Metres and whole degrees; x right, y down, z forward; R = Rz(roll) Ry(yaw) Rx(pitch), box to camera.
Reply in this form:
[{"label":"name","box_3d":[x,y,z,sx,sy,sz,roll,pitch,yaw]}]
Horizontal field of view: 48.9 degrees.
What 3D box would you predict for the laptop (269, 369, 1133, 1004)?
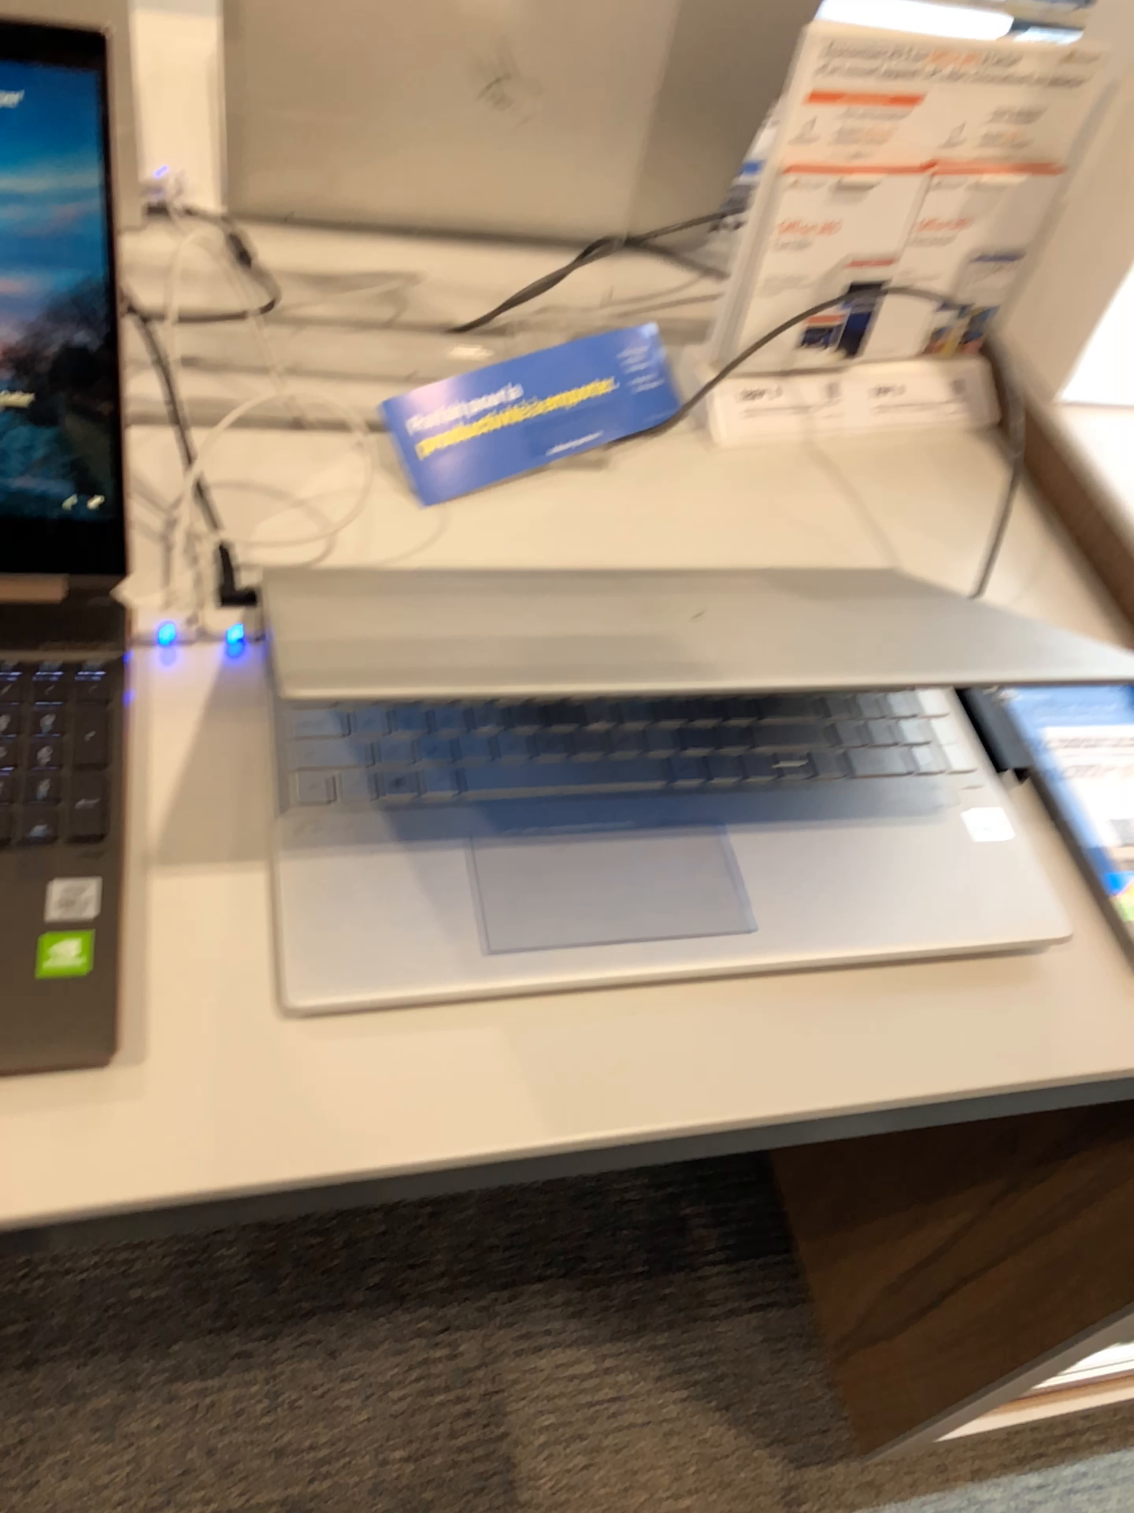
[{"label":"laptop","box_3d":[0.056,-0.038,0.535,0.346,0.116,0.230,-2,52,-14]}]
